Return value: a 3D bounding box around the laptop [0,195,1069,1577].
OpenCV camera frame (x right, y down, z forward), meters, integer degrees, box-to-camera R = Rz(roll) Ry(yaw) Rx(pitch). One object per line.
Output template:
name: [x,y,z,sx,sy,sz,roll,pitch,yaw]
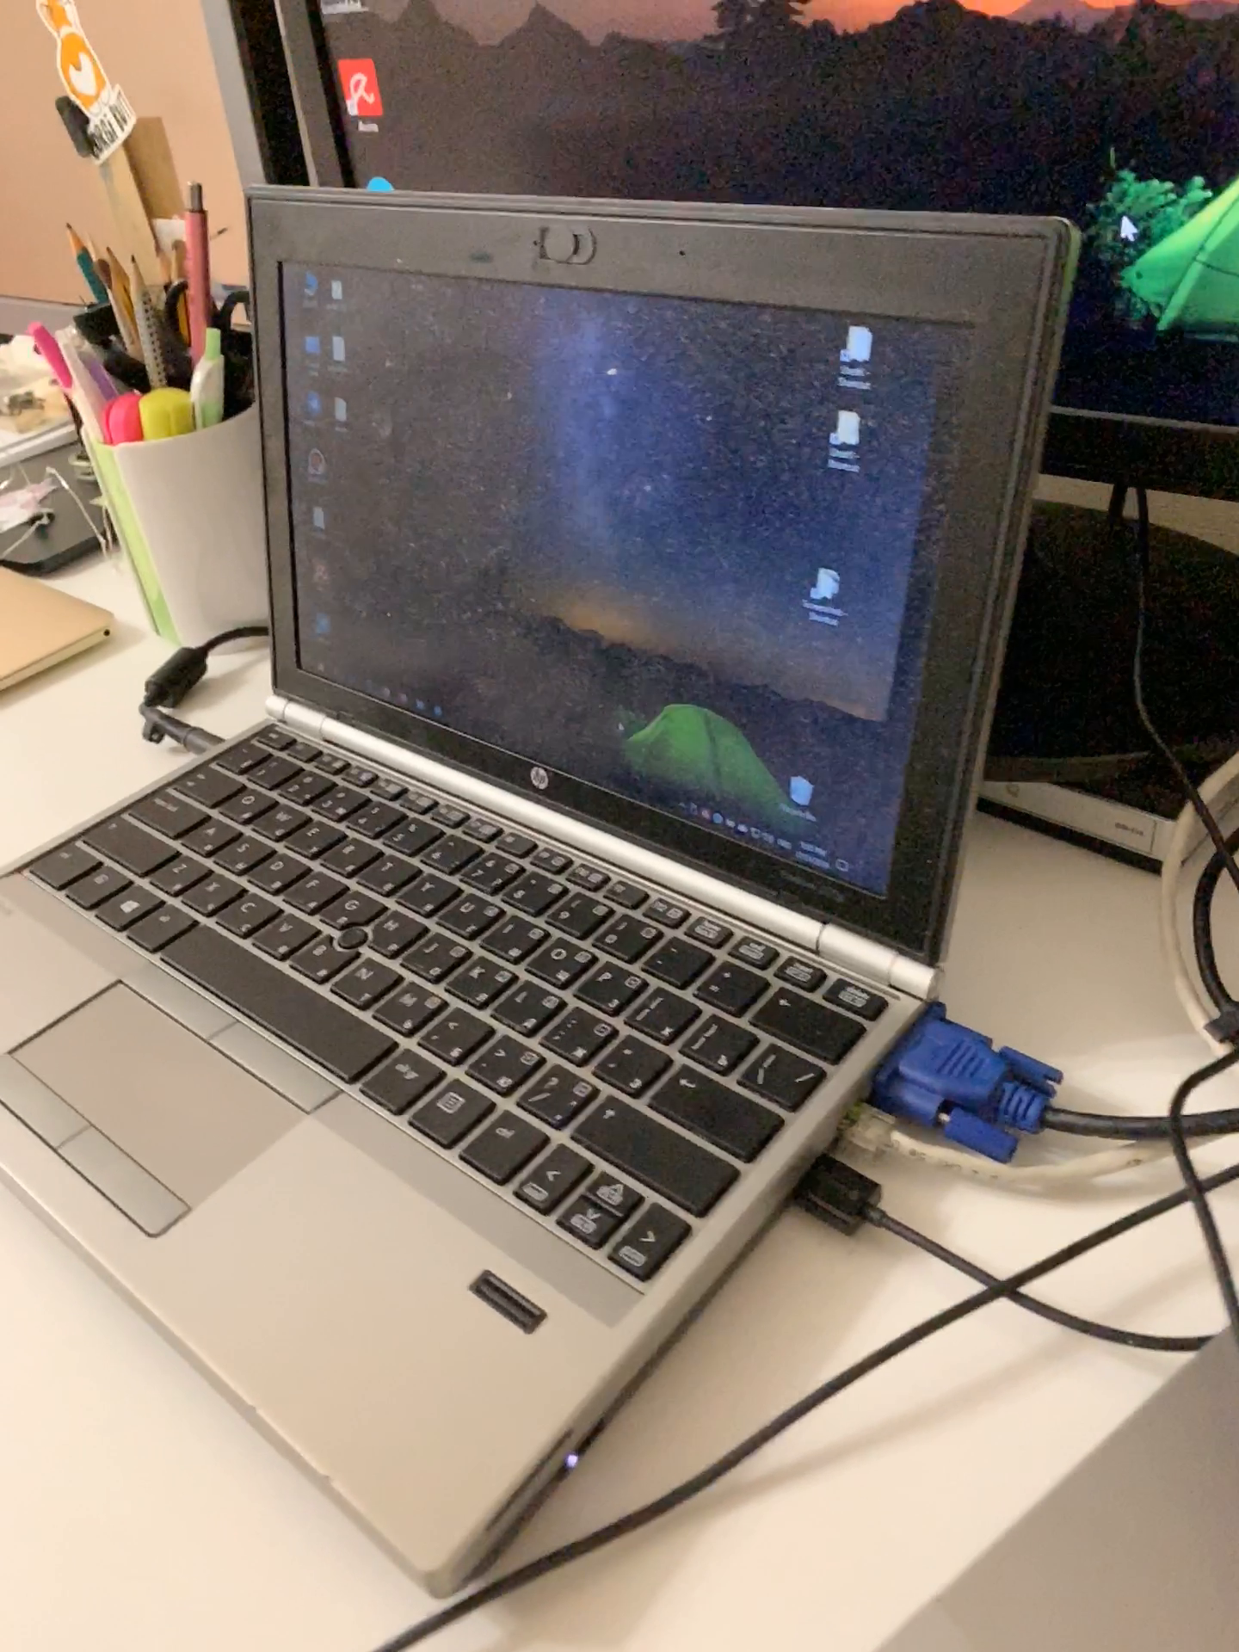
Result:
laptop: [-0.079,-0.038,0.327,0.285,0.176,0.226,22,45,35]
